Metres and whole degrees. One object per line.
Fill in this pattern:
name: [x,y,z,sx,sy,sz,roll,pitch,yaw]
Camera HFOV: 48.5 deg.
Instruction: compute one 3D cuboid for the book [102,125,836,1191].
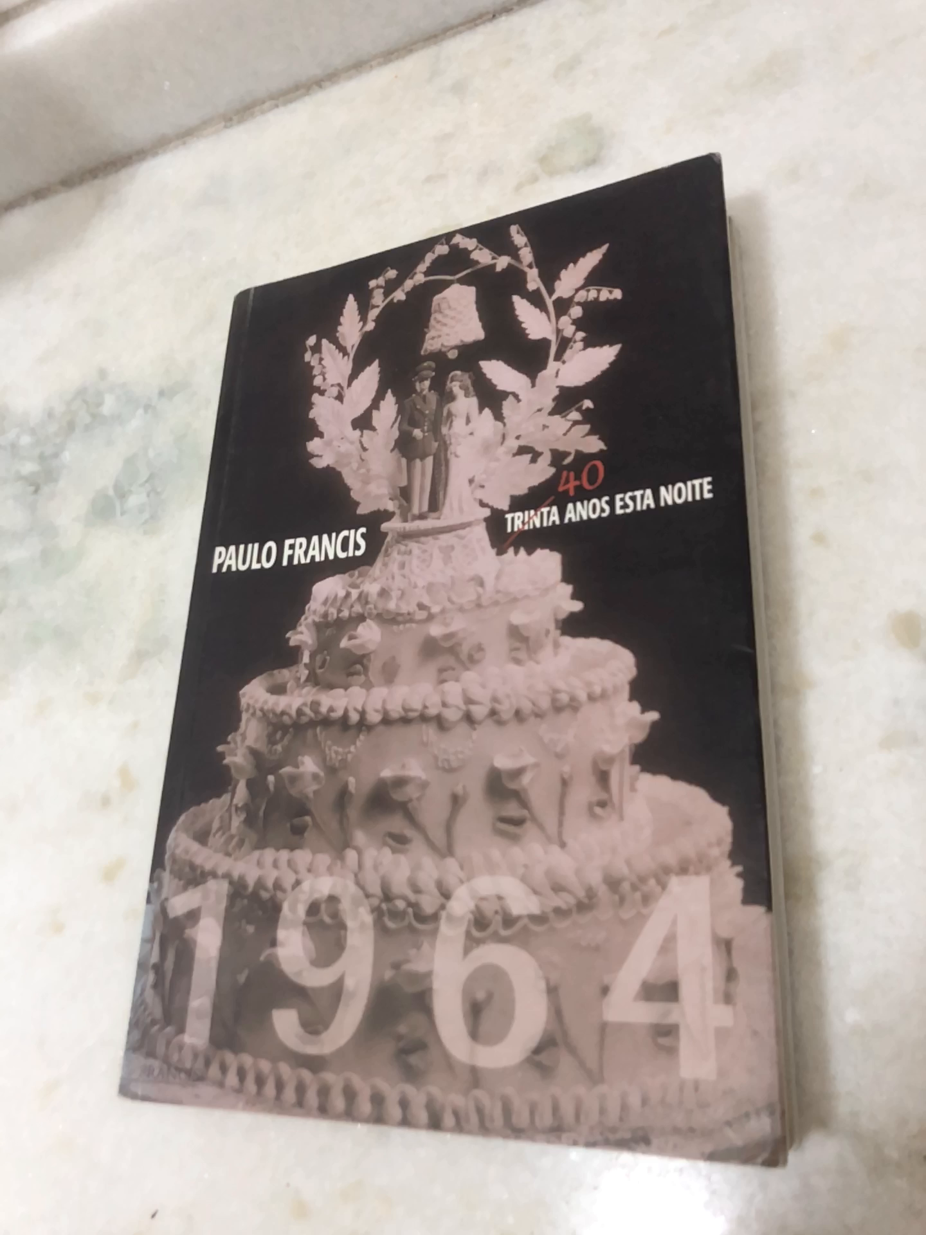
book: [-0.003,0.000,0.225,0.140,0.020,0.204,-7,68,24]
